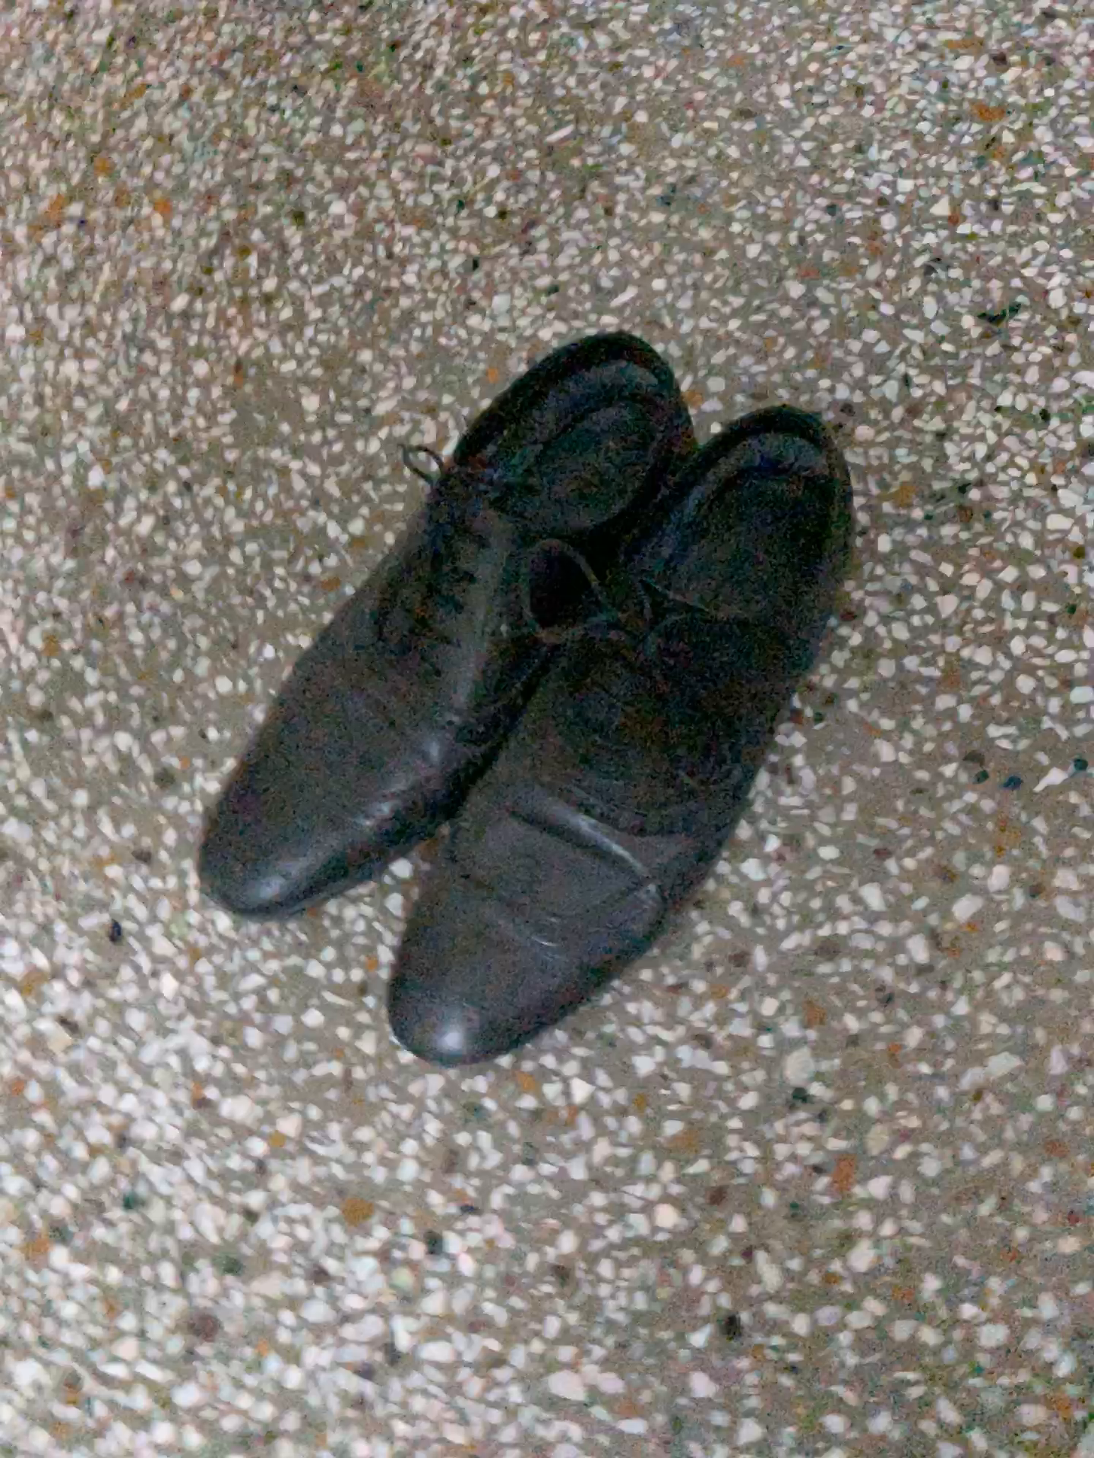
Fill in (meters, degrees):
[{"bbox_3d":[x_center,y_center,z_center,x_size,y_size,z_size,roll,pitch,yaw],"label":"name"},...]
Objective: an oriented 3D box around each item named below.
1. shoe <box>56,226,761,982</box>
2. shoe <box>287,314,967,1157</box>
[{"bbox_3d":[-0.045,-0.053,0.492,0.100,0.100,0.320,37,80,19],"label":"shoe"},{"bbox_3d":[0.042,0.001,0.459,0.100,0.100,0.320,29,78,17],"label":"shoe"}]
